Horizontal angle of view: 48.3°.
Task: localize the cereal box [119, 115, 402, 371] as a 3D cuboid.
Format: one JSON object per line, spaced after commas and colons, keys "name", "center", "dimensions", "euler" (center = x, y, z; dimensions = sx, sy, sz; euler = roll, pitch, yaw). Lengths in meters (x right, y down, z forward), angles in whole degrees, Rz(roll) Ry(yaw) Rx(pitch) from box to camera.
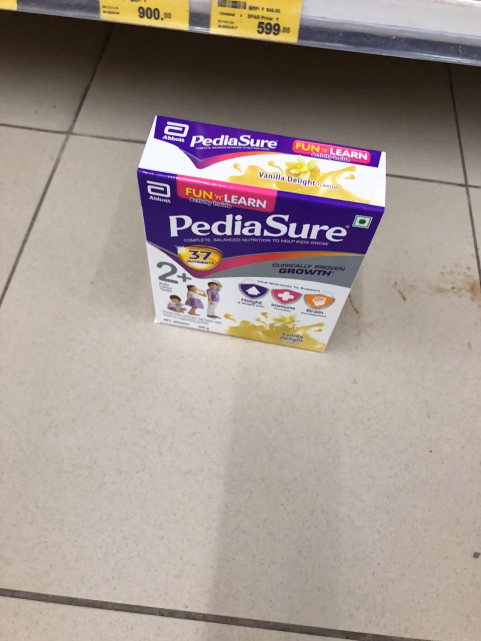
{"name": "cereal box", "center": [0.008, -0.037, 0.344], "dimensions": [0.140, 0.159, 0.050], "euler": [10, 59, 2]}
